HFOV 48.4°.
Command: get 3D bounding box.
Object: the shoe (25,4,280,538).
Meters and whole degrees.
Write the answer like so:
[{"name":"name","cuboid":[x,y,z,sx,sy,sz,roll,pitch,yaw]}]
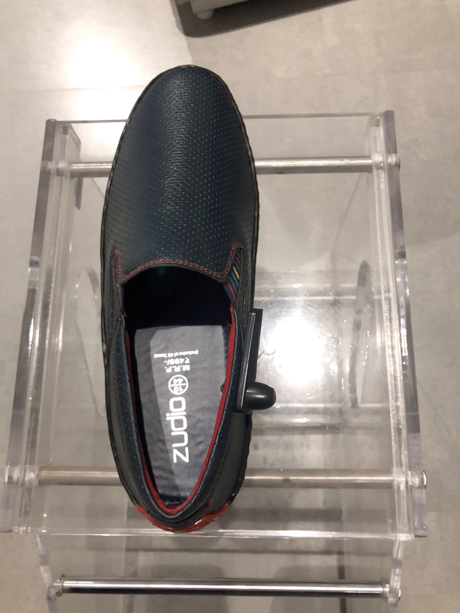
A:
[{"name":"shoe","cuboid":[-0.035,-0.022,0.300,0.110,0.100,0.270,-3,75,3]}]
